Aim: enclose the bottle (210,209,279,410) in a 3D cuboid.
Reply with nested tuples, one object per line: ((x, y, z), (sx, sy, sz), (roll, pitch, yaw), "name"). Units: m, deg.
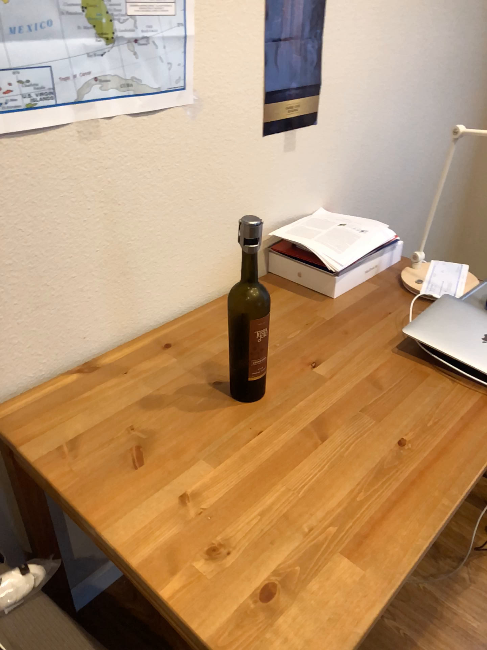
((0.002, -0.020, 0.957), (0.080, 0.348, 0.080), (0, 31, 0), "bottle")
